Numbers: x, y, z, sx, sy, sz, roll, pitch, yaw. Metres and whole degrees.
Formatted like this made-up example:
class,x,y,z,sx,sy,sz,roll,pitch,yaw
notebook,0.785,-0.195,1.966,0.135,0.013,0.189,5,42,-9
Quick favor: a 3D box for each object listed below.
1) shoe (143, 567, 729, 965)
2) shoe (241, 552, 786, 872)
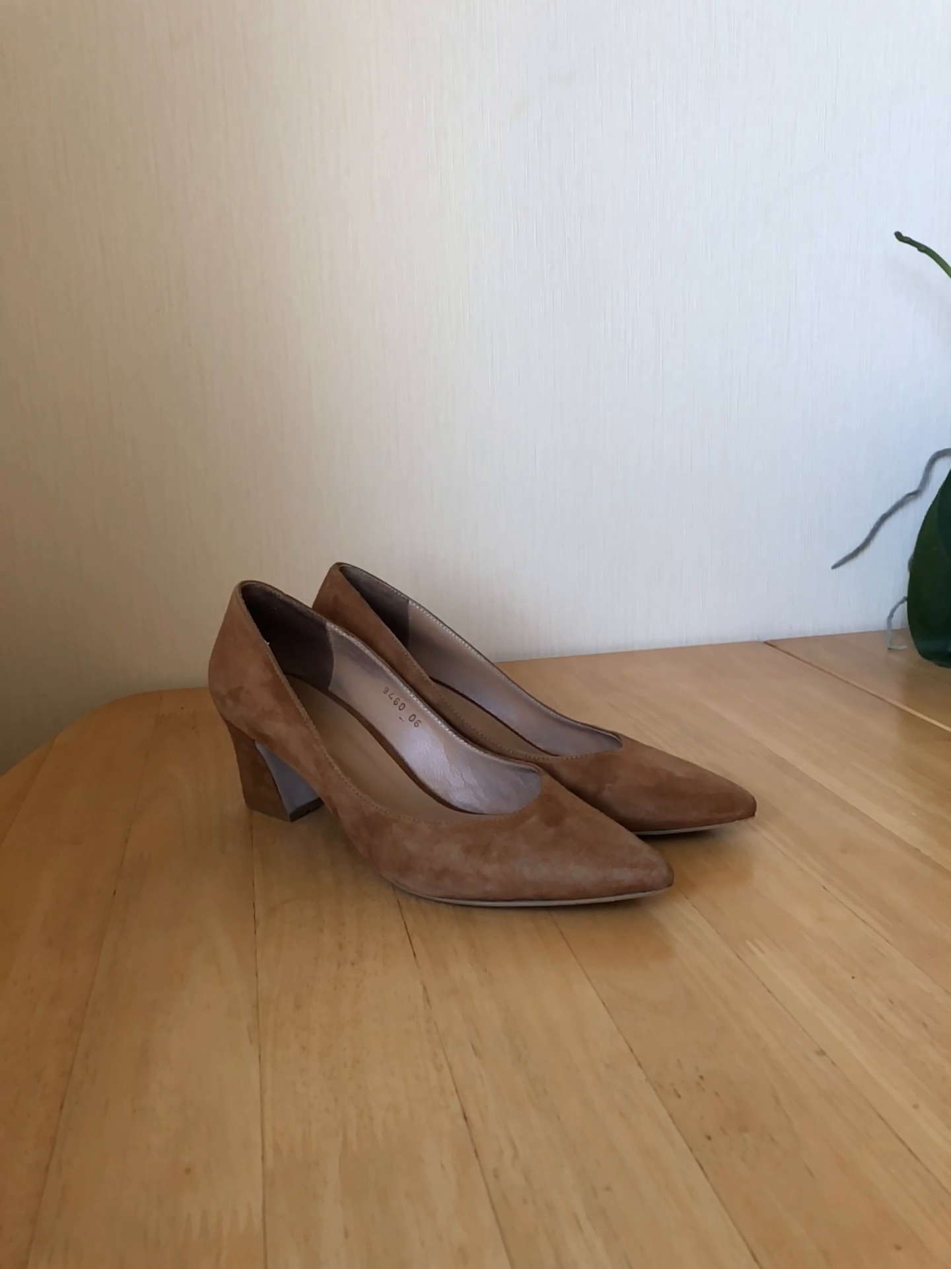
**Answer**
class,x,y,z,sx,sy,sz,roll,pitch,yaw
shoe,-0.024,0.042,0.471,0.250,0.110,0.089,8,17,33
shoe,0.015,0.027,0.540,0.260,0.110,0.089,6,16,28
